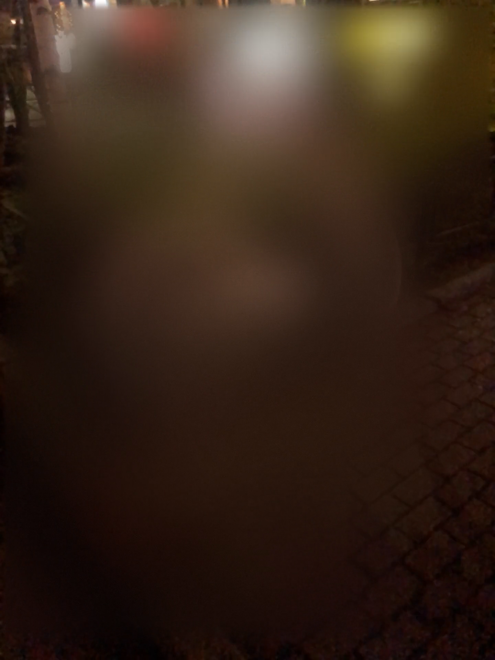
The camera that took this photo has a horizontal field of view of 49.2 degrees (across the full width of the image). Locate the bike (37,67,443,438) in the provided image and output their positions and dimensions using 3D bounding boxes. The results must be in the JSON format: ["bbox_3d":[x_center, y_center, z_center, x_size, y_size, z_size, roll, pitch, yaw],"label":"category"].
[{"bbox_3d":[0.086,-0.530,2.590,1.833,1.118,0.607,-25,34,-34],"label":"bike"}]
